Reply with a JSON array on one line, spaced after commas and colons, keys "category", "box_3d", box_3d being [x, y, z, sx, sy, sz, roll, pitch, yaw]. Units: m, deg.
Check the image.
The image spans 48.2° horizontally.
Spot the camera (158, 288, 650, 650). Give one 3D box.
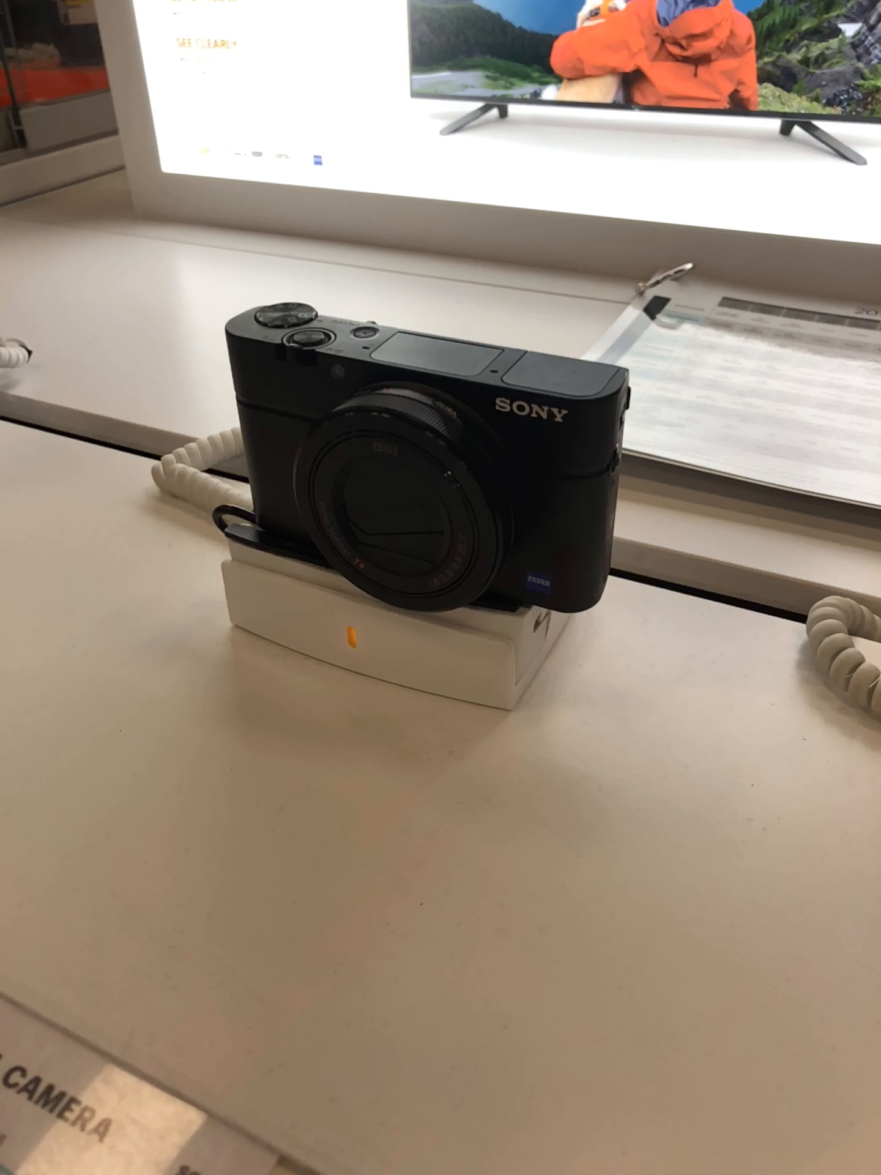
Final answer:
[{"category": "camera", "box_3d": [-0.009, -0.033, 0.249, 0.110, 0.060, 0.040, 15, 38, 22]}]
